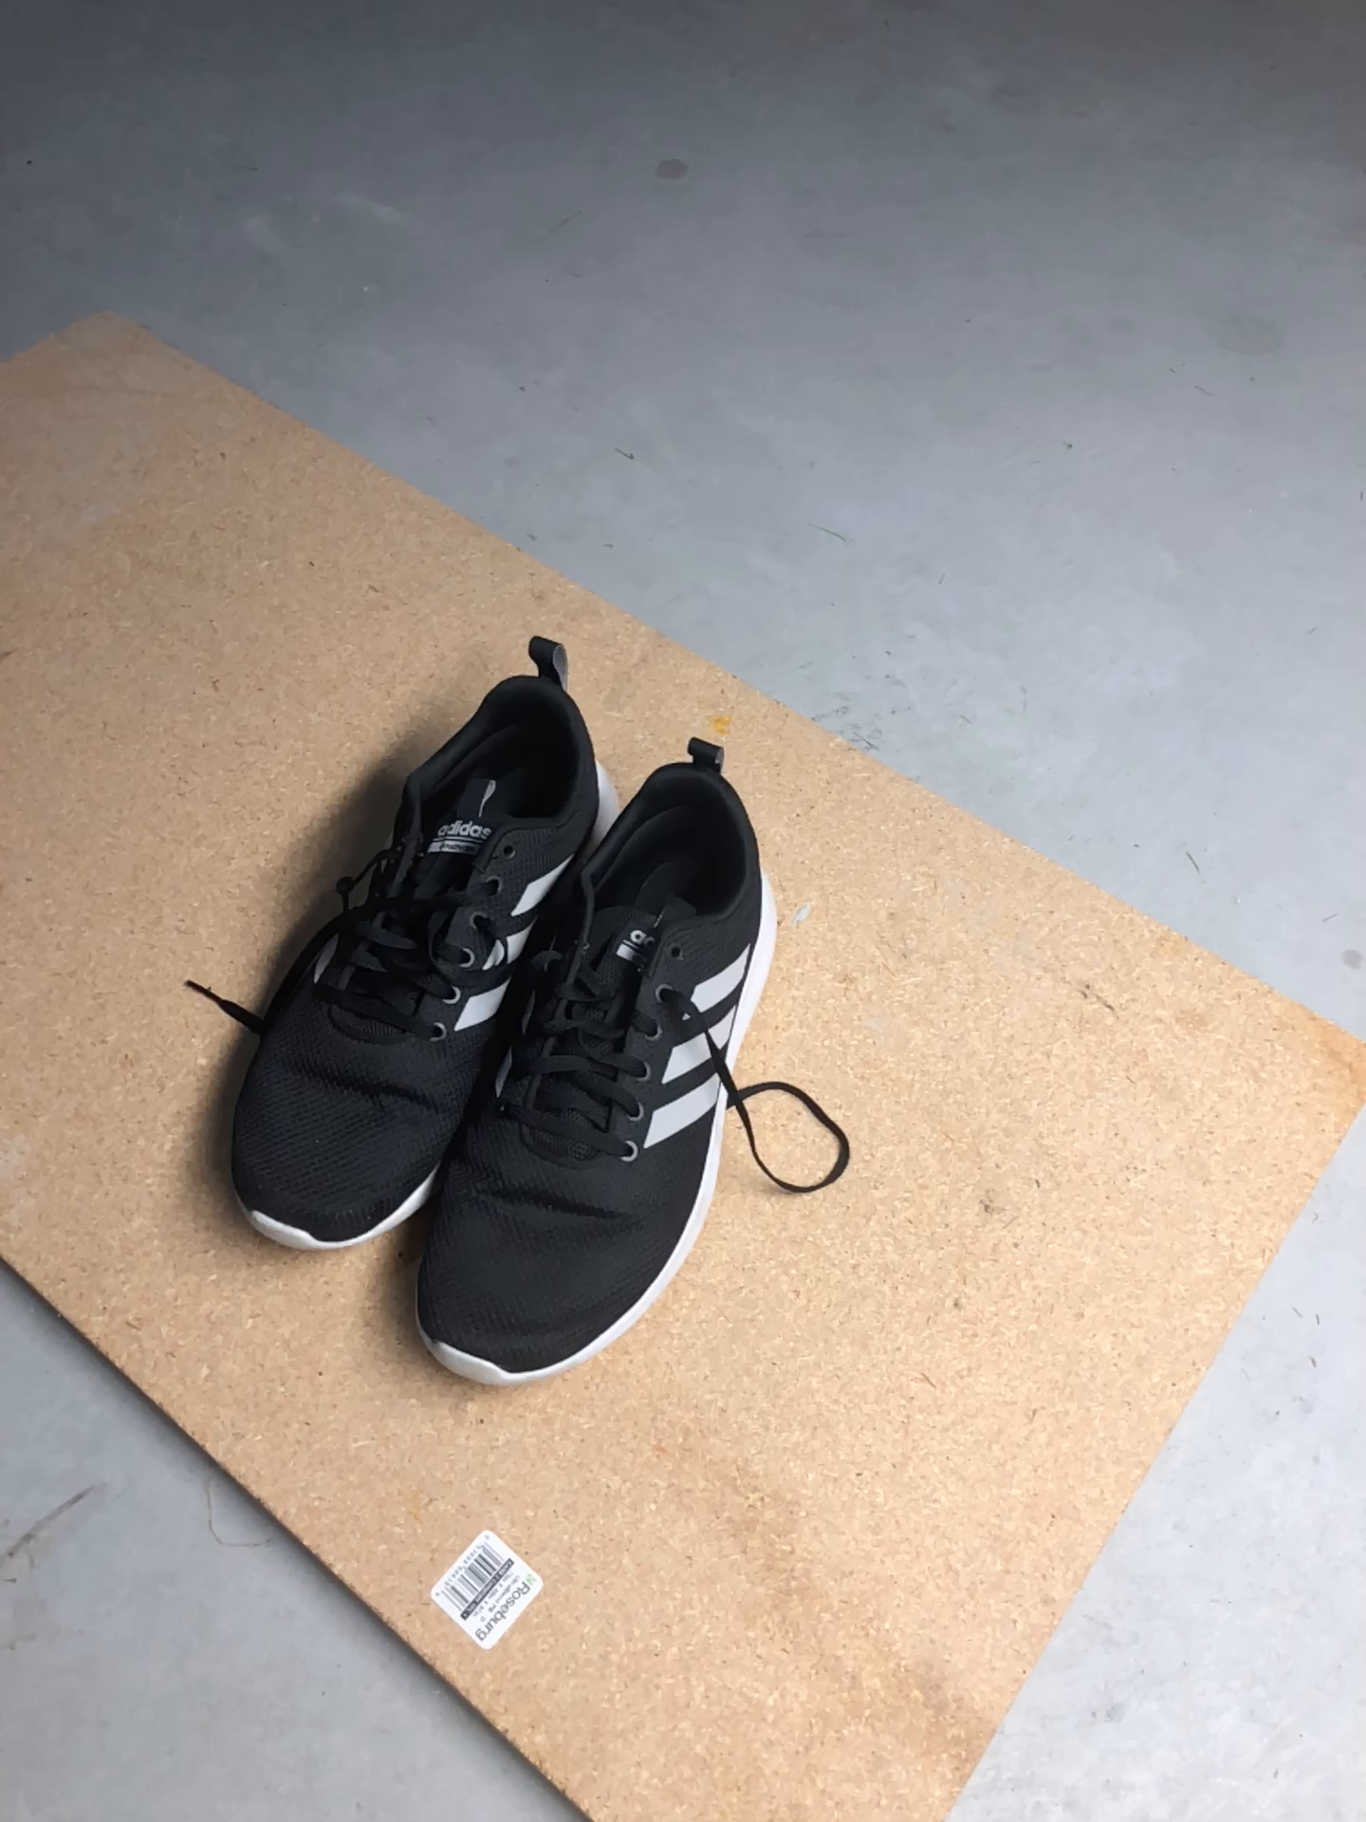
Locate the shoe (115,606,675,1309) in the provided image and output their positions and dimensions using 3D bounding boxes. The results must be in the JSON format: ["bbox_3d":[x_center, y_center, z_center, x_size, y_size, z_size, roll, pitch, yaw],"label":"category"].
[{"bbox_3d":[-0.116,0.009,0.682,0.110,0.090,0.300,22,56,5],"label":"shoe"}]

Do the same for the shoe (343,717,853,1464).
[{"bbox_3d":[-0.028,0.066,0.662,0.110,0.090,0.300,21,56,4],"label":"shoe"}]
